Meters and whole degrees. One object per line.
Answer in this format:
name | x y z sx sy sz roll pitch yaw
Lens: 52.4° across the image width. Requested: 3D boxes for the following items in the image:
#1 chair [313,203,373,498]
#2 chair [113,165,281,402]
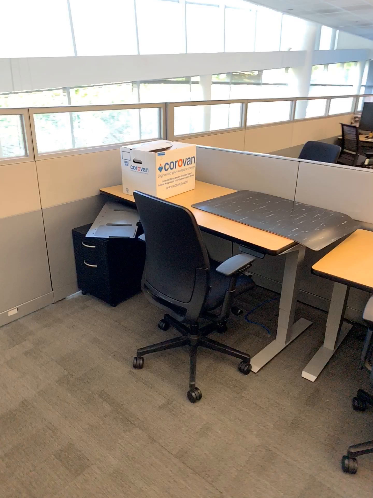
chair | 0.900 0.431 1.368 0.522 0.995 0.581 19 29 35
chair | 0.038 0.132 2.048 0.600 0.995 0.563 -19 31 -39
